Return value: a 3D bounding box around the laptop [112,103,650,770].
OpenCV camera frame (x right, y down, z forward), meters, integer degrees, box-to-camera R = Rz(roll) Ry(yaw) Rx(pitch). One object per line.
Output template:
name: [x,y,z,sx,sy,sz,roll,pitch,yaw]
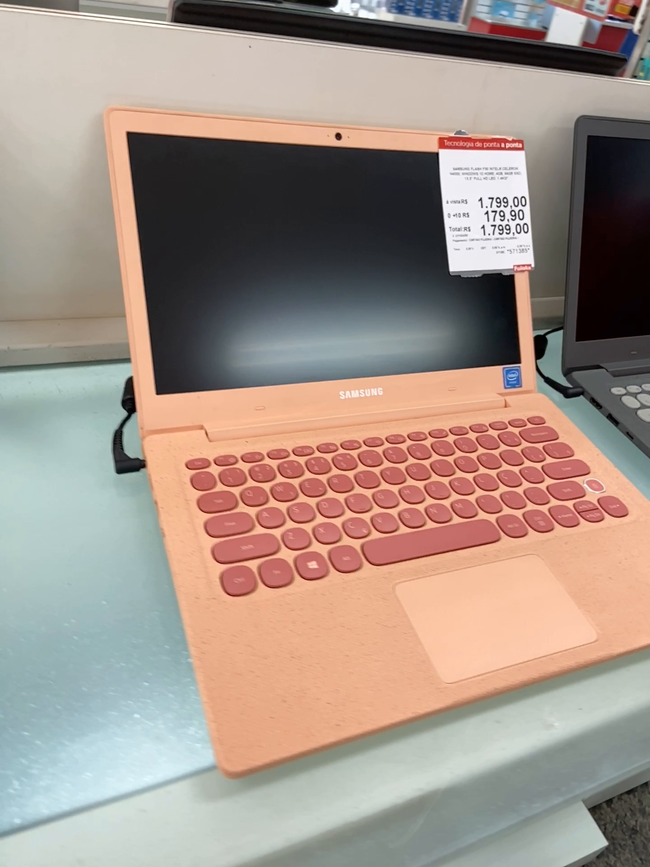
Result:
laptop: [0.060,-0.054,0.422,0.330,0.160,0.360,-6,43,-22]
